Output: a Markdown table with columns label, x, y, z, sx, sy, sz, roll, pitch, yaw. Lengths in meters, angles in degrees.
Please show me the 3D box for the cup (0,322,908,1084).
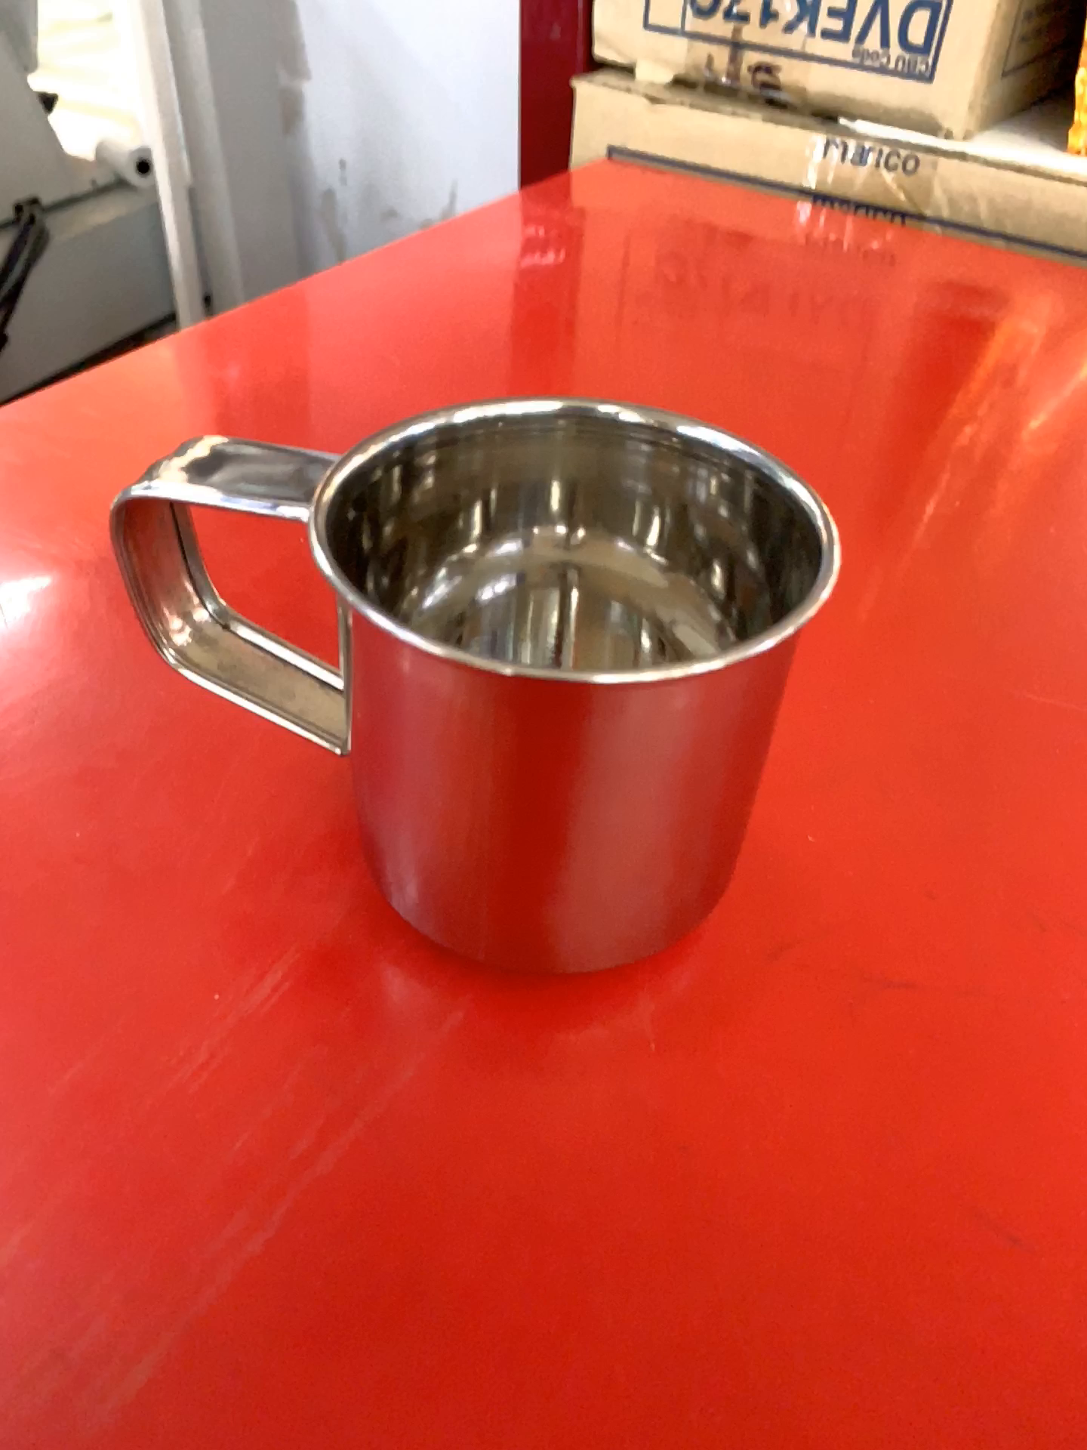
| label | x | y | z | sx | sy | sz | roll | pitch | yaw |
| --- | --- | --- | --- | --- | --- | --- | --- | --- | --- |
| cup | -0.008 | -0.010 | 0.185 | 0.109 | 0.065 | 0.080 | 15 | 42 | 14 |
